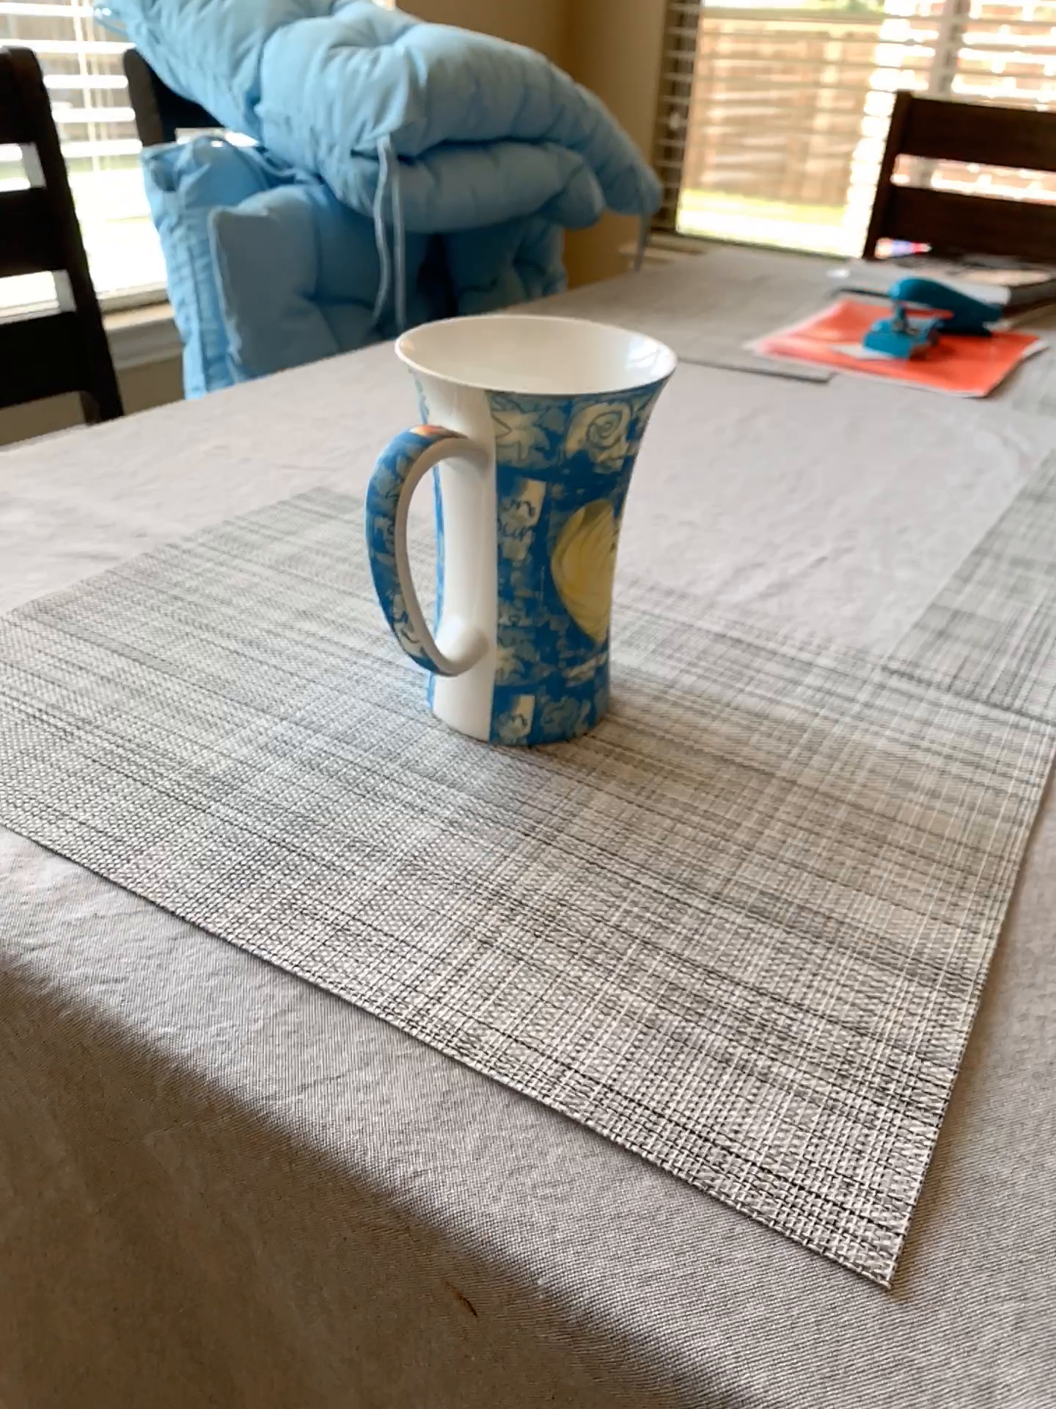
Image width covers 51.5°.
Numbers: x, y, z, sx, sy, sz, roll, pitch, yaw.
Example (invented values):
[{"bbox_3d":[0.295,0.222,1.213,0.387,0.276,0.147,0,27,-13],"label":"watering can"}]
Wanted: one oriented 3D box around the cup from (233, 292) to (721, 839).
[{"bbox_3d":[-0.016,-0.064,0.424,0.099,0.148,0.153,23,36,28],"label":"cup"}]
